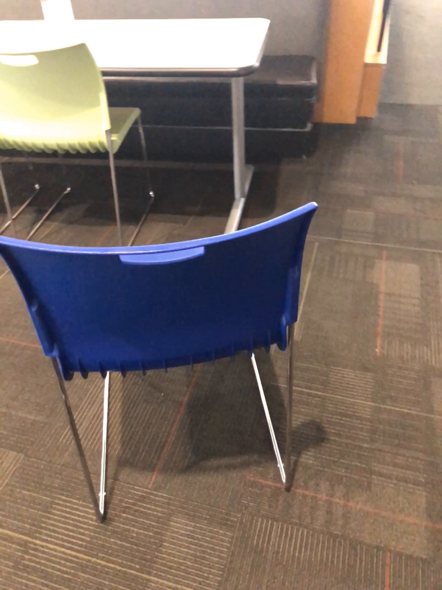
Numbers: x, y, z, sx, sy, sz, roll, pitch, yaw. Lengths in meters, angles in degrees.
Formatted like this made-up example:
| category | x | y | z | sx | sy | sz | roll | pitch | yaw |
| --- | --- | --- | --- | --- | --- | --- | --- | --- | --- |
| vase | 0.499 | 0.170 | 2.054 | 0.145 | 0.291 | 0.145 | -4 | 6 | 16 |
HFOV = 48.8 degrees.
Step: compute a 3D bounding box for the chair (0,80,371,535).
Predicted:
| category | x | y | z | sx | sy | sz | roll | pitch | yaw |
| --- | --- | --- | --- | --- | --- | --- | --- | --- | --- |
| chair | -0.114 | 0.022 | 1.097 | 0.580 | 0.756 | 0.593 | -7 | 40 | -5 |
